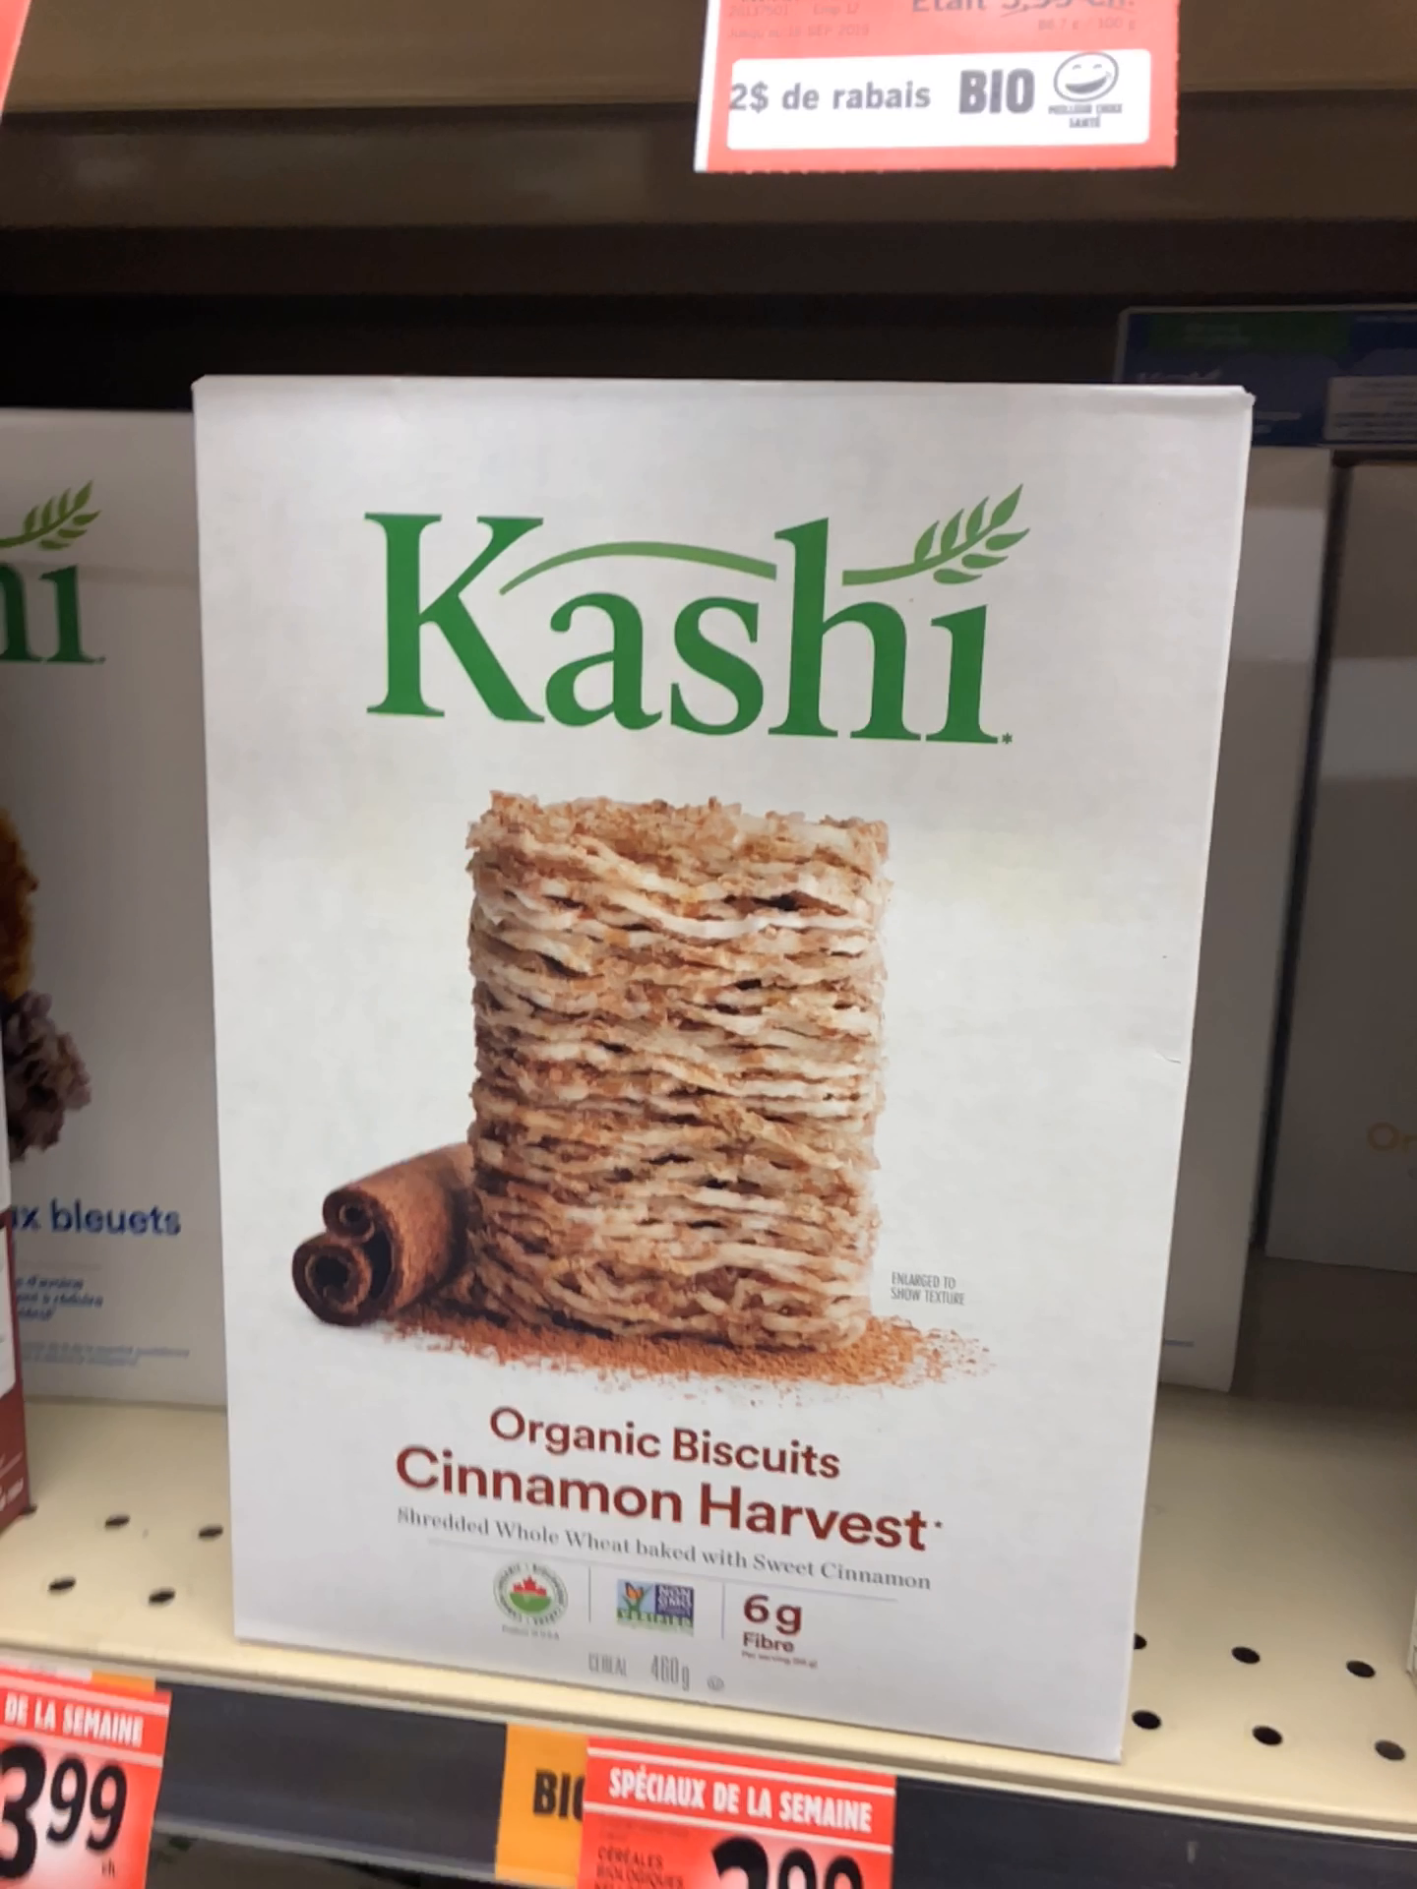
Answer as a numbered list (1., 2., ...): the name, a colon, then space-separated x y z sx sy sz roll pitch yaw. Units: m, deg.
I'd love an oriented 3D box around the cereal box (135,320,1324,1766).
1. cereal box: 0.001 0.018 0.327 0.200 0.269 0.070 4 15 9
